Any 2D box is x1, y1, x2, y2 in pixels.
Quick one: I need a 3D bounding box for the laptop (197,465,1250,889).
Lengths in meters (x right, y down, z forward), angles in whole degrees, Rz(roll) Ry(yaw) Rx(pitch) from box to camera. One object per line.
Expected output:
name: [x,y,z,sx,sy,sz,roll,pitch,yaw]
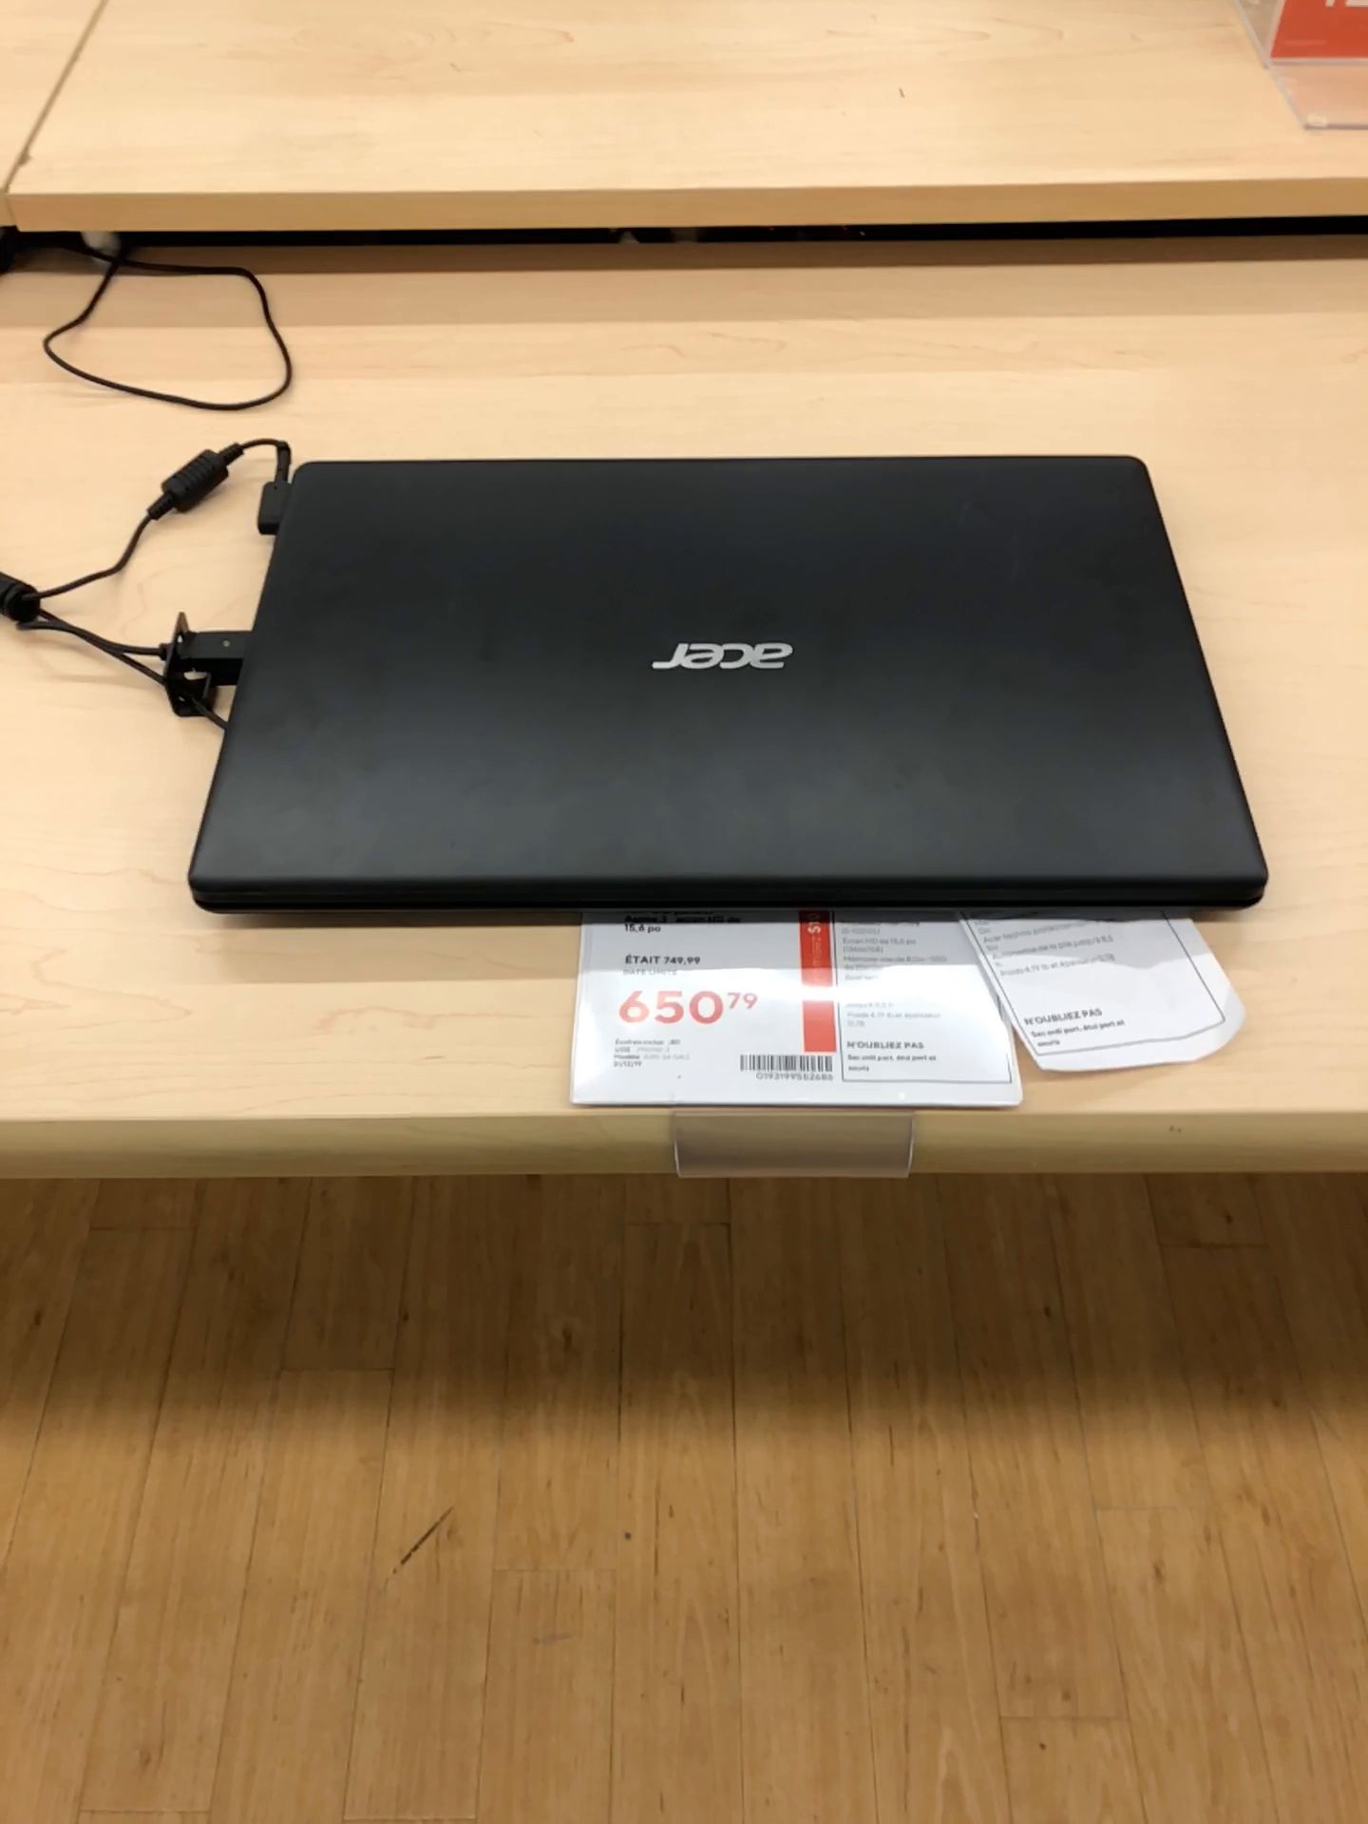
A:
laptop: [0.015,-0.097,0.558,0.346,0.003,0.213,-1,53,-1]
